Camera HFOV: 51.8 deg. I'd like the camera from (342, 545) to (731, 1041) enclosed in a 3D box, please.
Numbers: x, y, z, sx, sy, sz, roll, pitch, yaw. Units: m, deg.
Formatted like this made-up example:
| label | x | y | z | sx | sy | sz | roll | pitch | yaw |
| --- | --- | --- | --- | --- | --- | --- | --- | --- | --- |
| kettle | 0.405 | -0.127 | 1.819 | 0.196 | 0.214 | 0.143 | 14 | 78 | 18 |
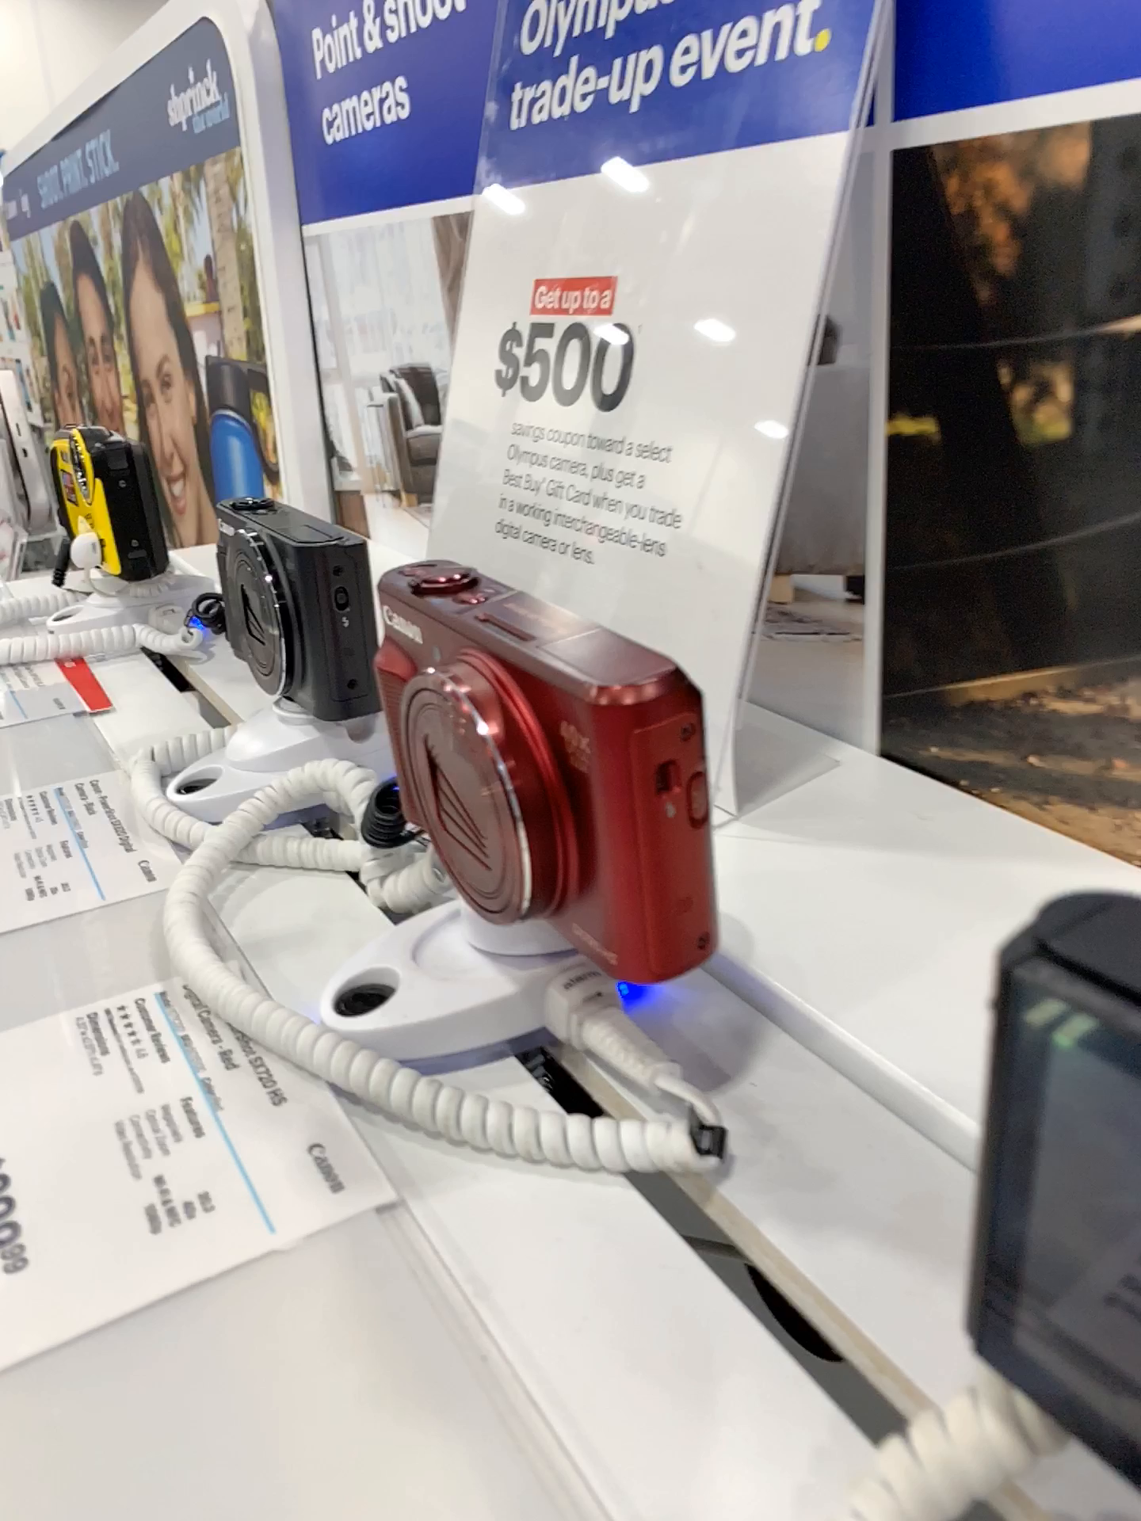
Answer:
| label | x | y | z | sx | sy | sz | roll | pitch | yaw |
| --- | --- | --- | --- | --- | --- | --- | --- | --- | --- |
| camera | -0.012 | -0.001 | 0.256 | 0.030 | 0.070 | 0.110 | -18 | 26 | -23 |
